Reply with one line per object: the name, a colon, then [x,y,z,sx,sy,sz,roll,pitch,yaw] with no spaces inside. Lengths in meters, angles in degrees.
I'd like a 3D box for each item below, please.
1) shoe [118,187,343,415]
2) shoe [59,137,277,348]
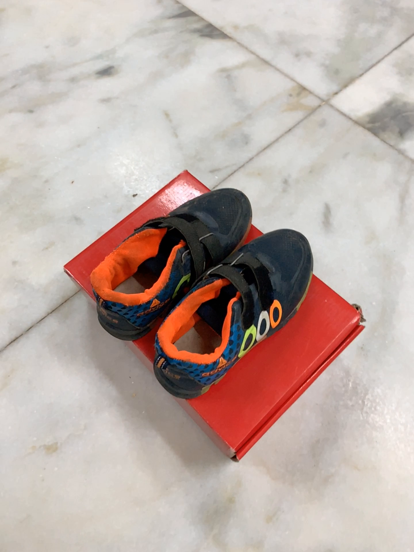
shoe: [0.027,0.024,0.436,0.090,0.090,0.210,41,71,19]
shoe: [-0.031,-0.037,0.443,0.080,0.080,0.210,41,72,19]
